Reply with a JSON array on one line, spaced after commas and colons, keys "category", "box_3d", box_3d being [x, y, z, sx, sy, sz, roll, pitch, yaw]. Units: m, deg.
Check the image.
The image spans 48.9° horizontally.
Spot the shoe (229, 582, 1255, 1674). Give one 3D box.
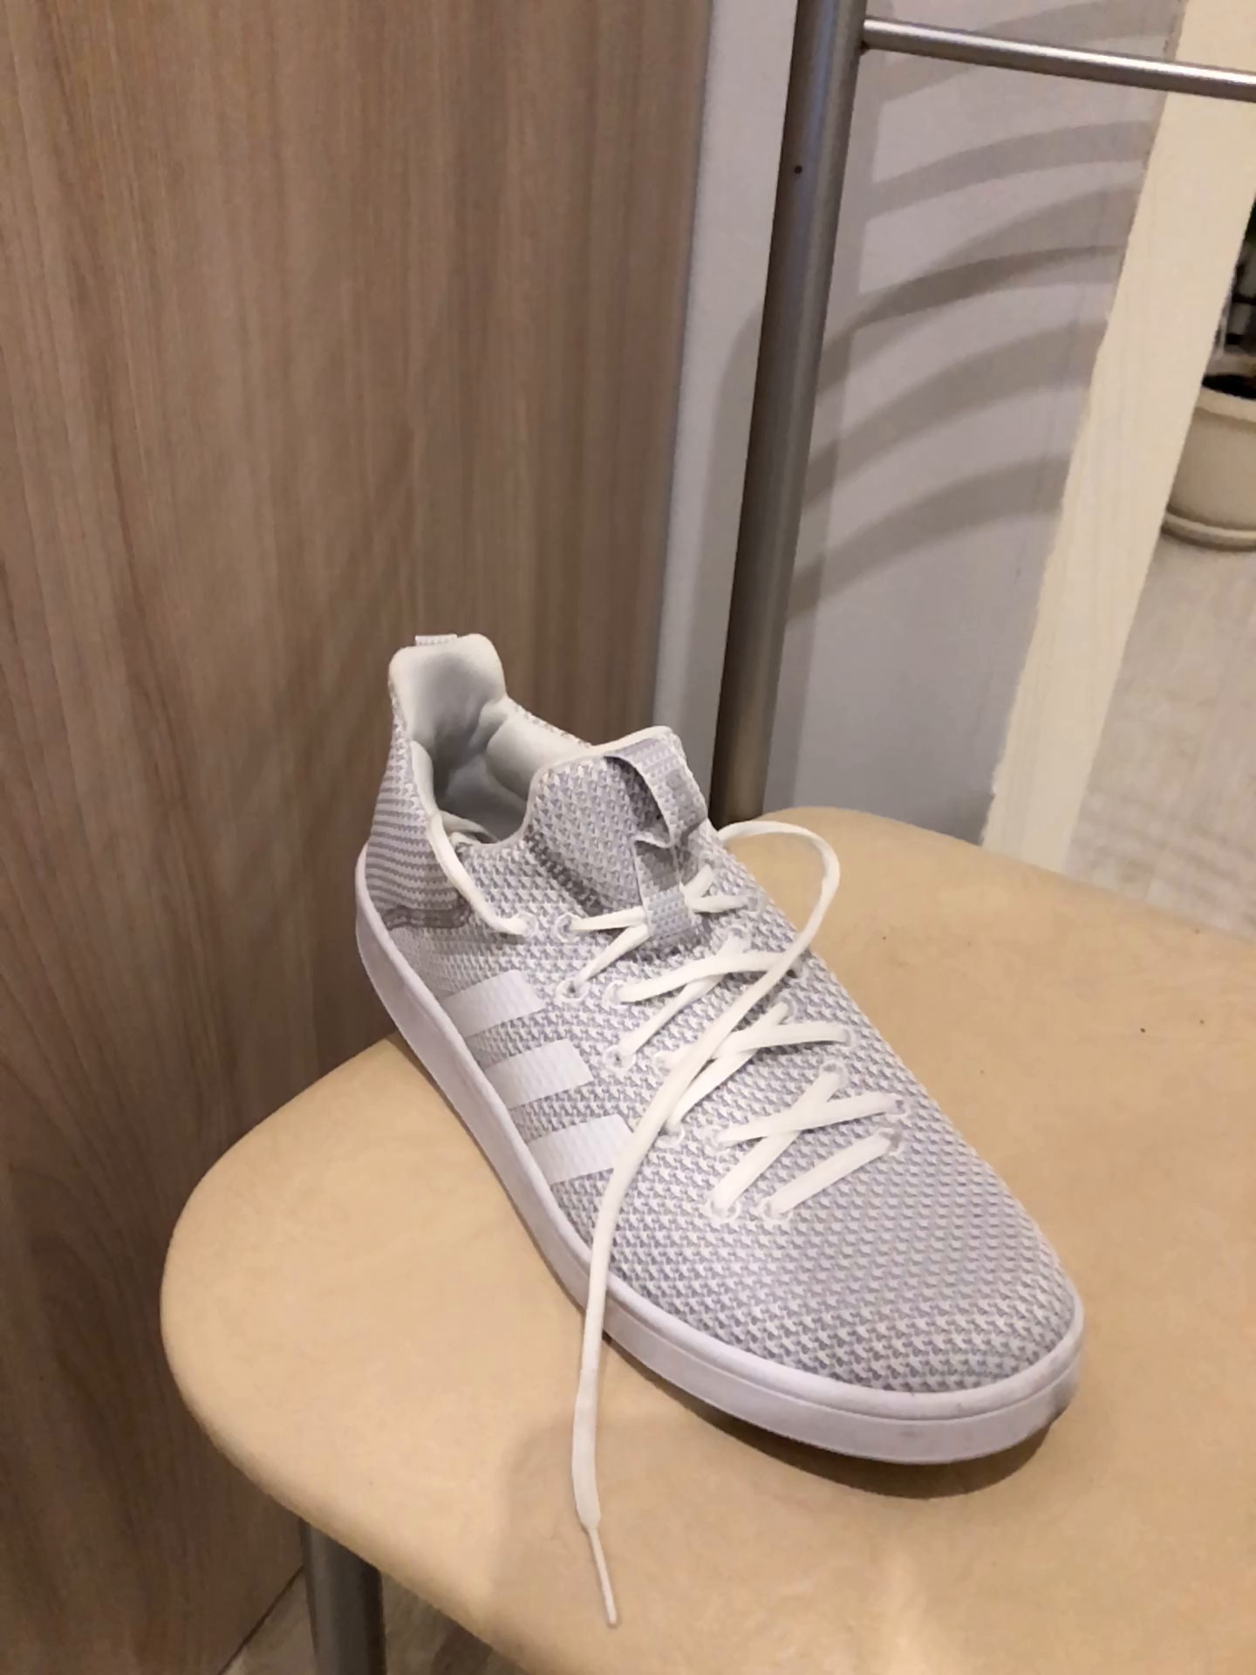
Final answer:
[{"category": "shoe", "box_3d": [0.002, 0.050, 0.407, 0.110, 0.129, 0.301, -20, 40, -31]}]
